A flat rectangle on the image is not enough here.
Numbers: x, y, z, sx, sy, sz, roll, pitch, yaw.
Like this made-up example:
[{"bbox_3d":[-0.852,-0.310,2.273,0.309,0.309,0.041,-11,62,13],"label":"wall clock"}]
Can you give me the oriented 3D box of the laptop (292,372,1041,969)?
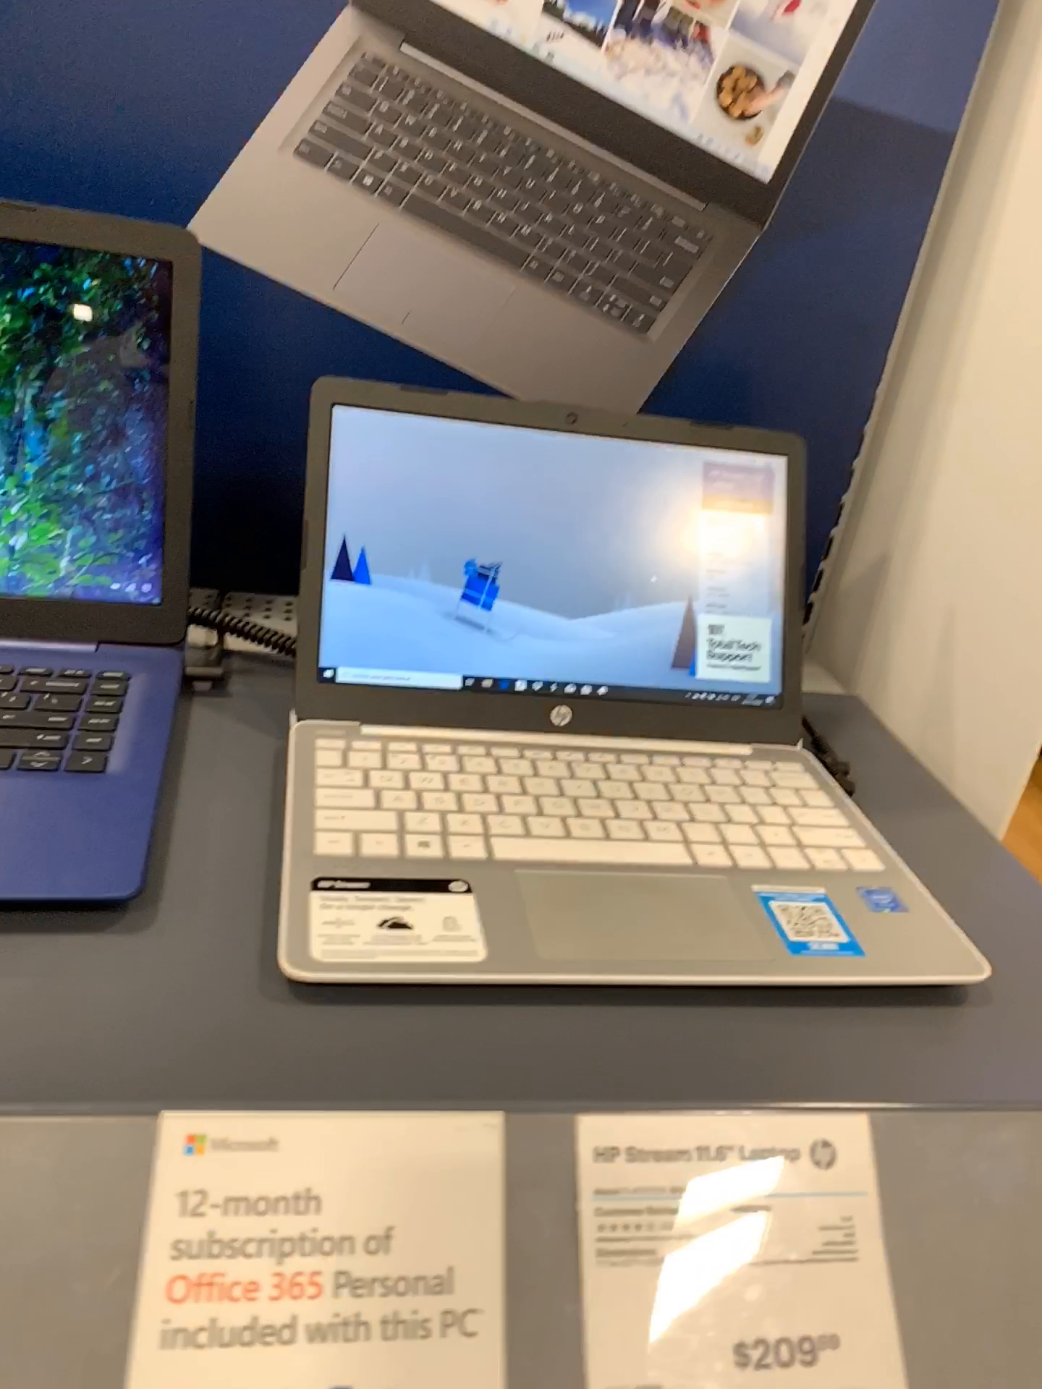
[{"bbox_3d":[0.037,-0.026,0.485,0.266,0.144,0.275,4,26,-15],"label":"laptop"}]
